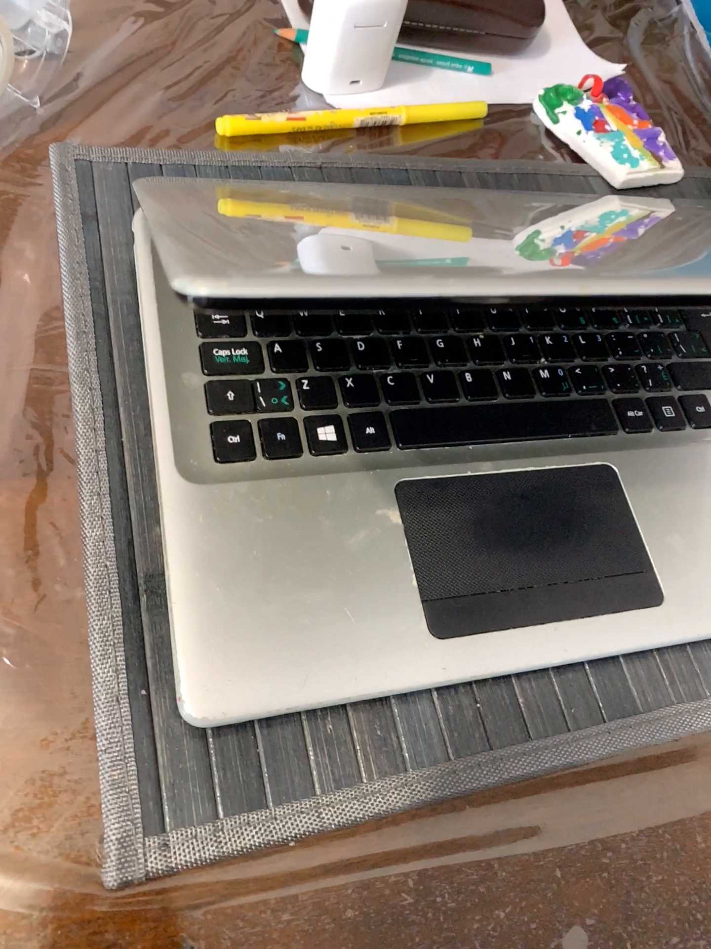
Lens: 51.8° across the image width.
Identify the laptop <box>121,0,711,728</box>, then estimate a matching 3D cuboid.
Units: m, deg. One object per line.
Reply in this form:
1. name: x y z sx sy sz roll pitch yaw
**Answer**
1. laptop: 0.101 -0.064 0.278 0.344 0.141 0.225 -5 65 -18
